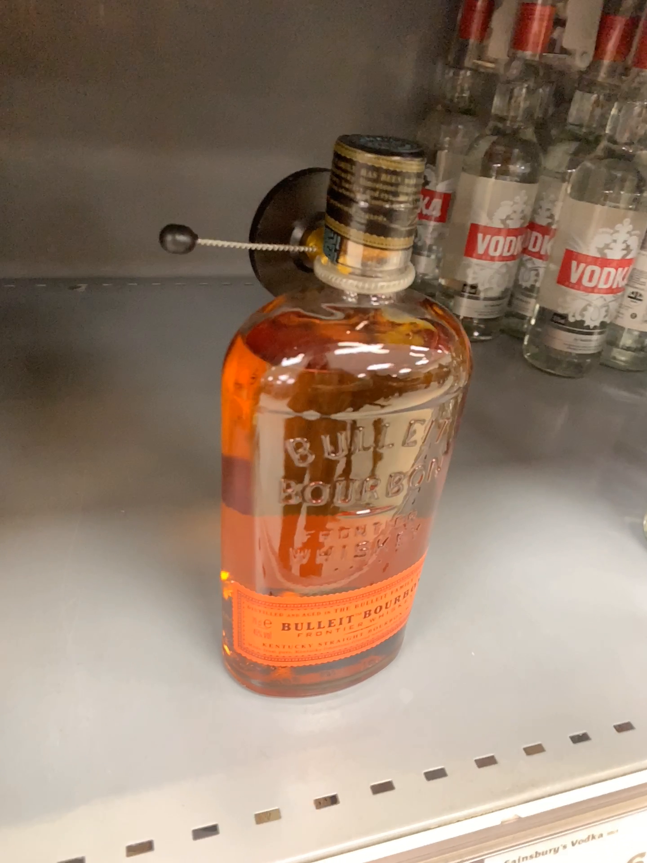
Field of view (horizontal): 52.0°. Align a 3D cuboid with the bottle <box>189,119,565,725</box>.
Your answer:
[{"bbox_3d":[0.004,0.007,0.264,0.100,0.228,0.061,-8,35,-21],"label":"bottle"}]
